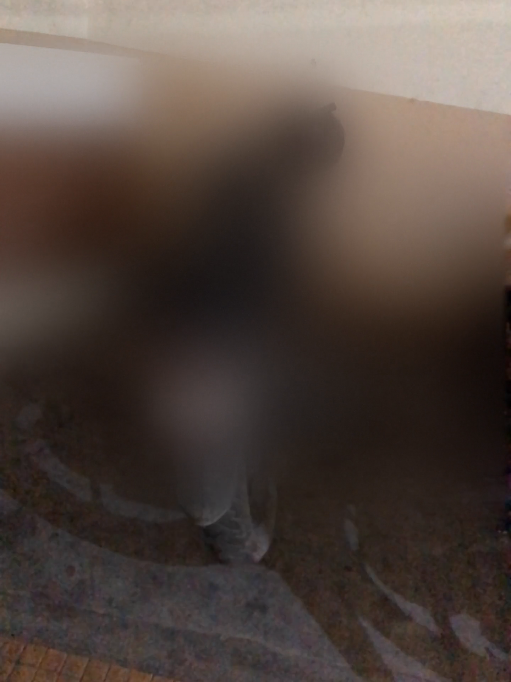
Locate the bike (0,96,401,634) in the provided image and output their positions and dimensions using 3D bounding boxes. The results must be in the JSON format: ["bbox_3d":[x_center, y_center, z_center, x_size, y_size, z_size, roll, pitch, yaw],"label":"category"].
[{"bbox_3d":[-0.141,-0.169,1.989,0.717,1.180,1.711,10,25,0],"label":"bike"}]
